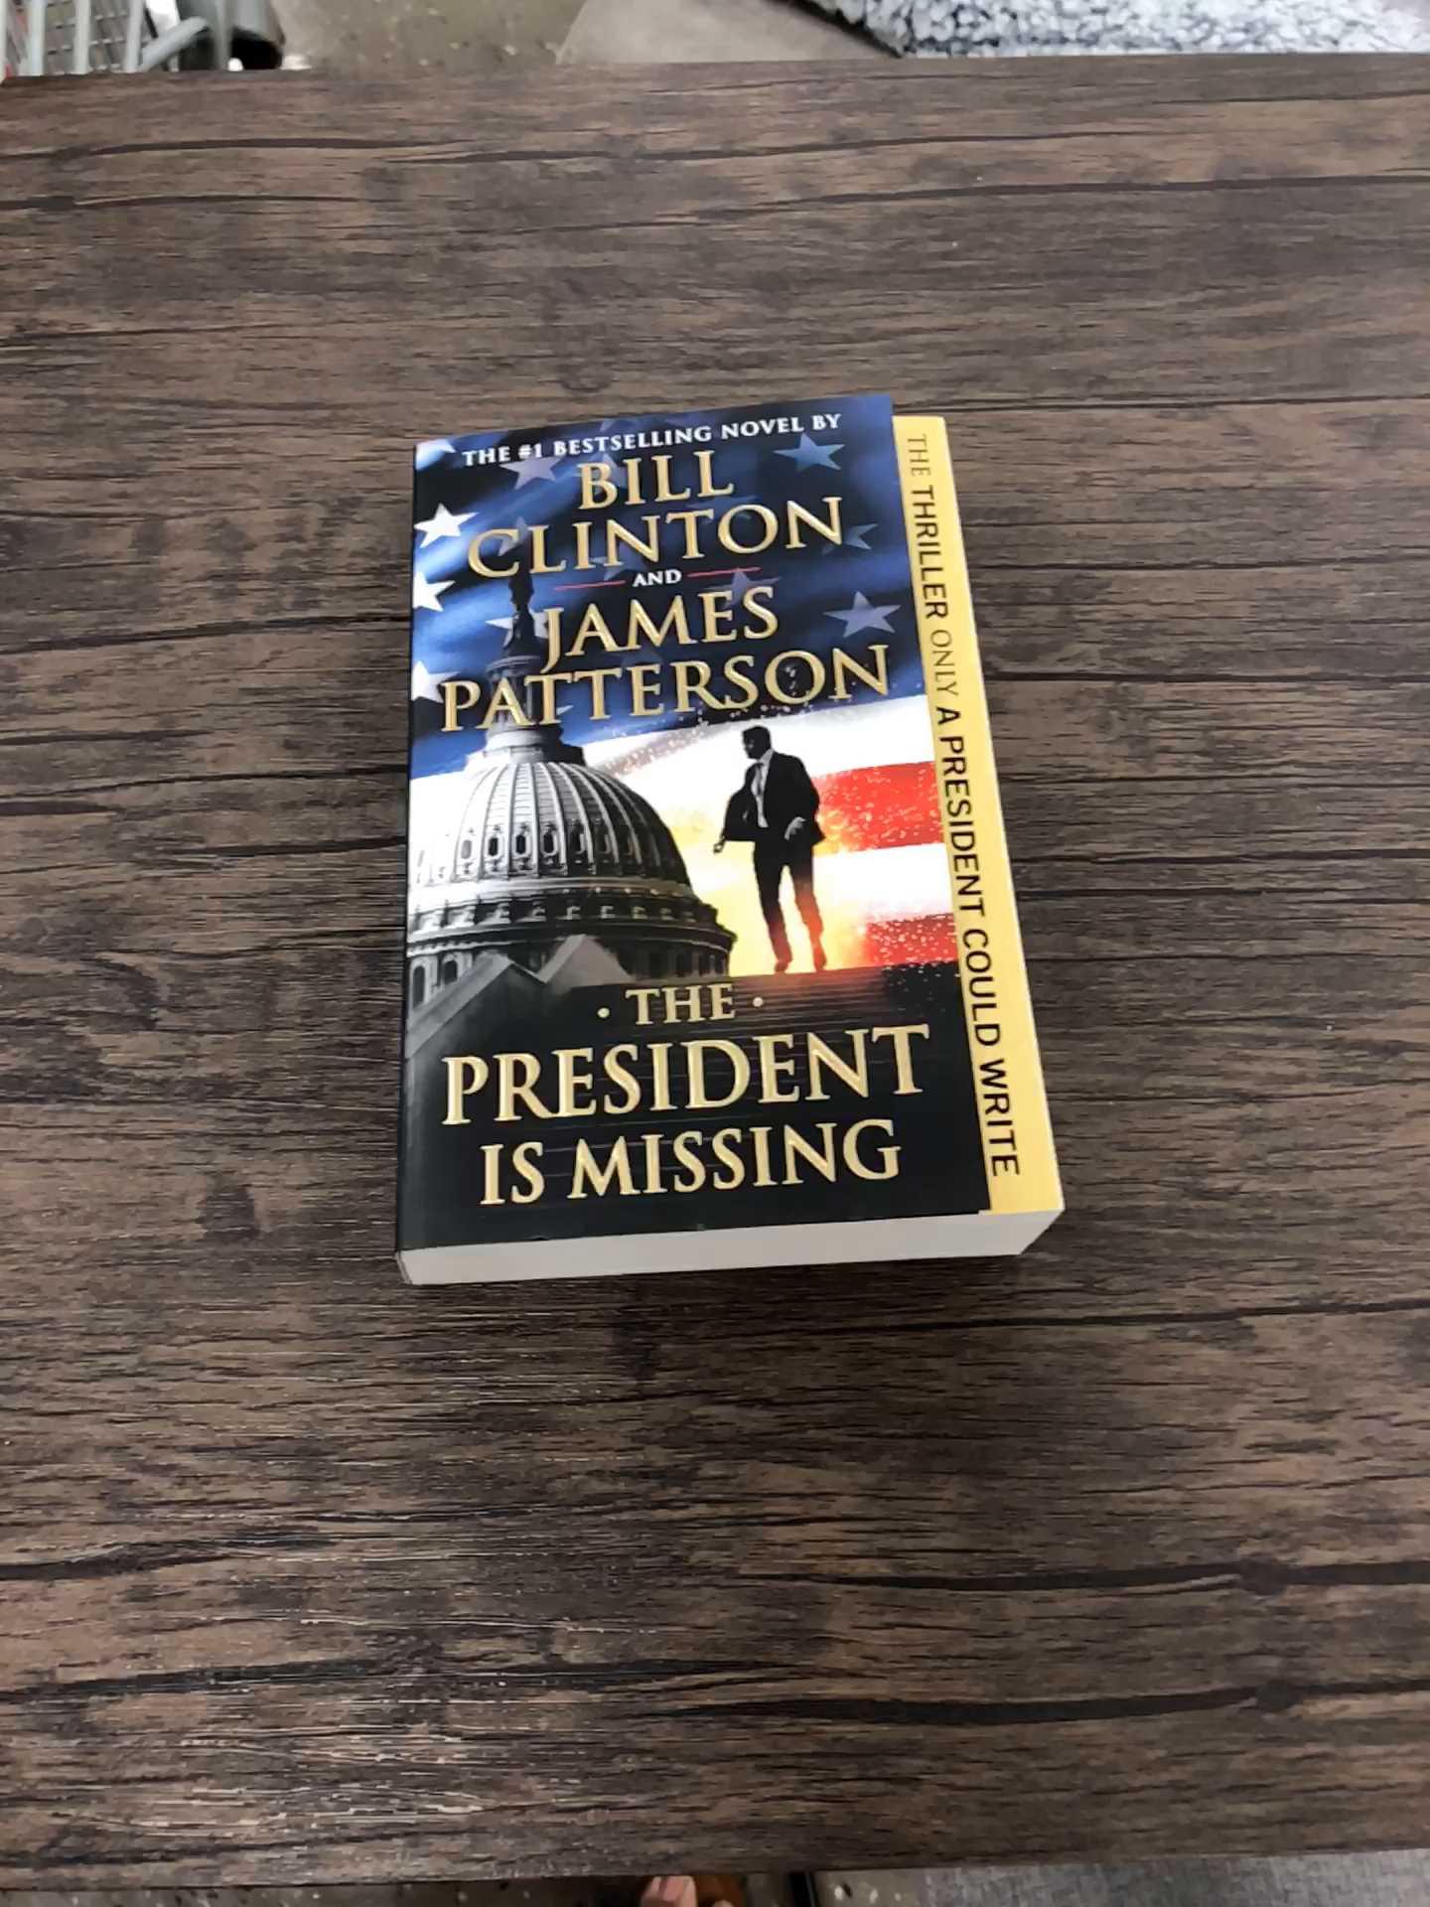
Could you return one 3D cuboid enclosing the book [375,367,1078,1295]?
[{"bbox_3d":[-0.005,-0.036,0.383,0.140,0.054,0.216,-3,66,-2],"label":"book"}]
